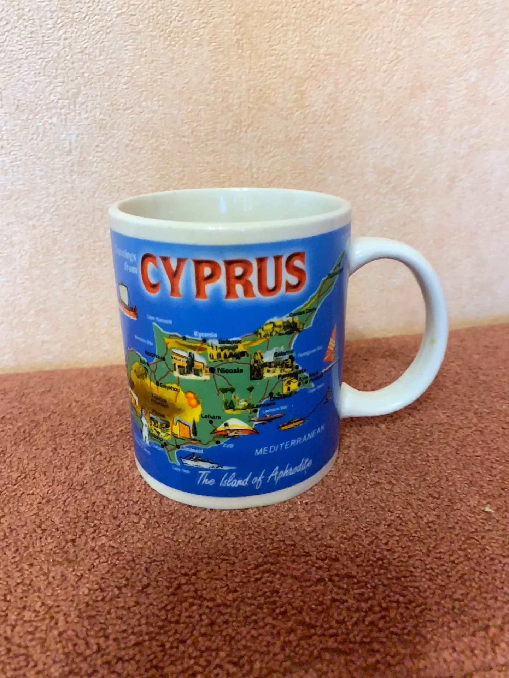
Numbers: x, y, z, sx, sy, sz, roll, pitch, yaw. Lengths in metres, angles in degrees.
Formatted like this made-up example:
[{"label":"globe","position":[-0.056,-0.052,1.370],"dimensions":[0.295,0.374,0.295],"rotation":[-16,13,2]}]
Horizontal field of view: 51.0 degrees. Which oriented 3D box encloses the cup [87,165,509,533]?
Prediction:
[{"label":"cup","position":[0.017,-0.005,0.184],"dimensions":[0.118,0.091,0.085],"rotation":[-4,25,-5]}]
